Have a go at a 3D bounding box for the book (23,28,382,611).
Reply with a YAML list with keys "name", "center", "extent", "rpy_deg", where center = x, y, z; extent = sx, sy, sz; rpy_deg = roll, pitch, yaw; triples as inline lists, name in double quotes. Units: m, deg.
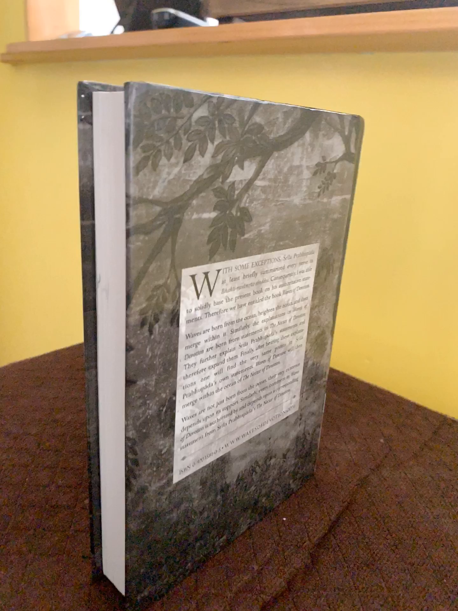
- name: "book"
  center: [-0.003, 0.015, 0.229]
  extent: [0.161, 0.229, 0.040]
  rpy_deg: [-12, 23, -42]
